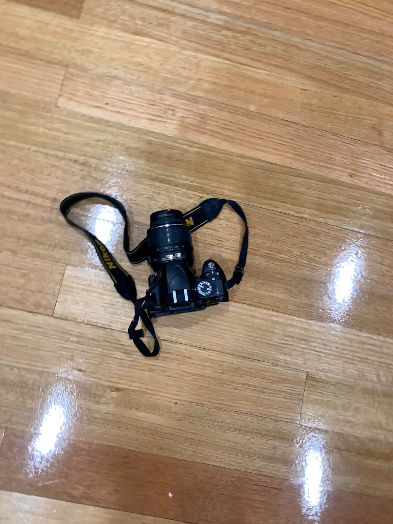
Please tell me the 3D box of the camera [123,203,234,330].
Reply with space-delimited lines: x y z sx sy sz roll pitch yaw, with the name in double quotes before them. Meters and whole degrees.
"camera" -0.031 0.011 0.622 0.130 0.100 0.160 -11 83 -8
